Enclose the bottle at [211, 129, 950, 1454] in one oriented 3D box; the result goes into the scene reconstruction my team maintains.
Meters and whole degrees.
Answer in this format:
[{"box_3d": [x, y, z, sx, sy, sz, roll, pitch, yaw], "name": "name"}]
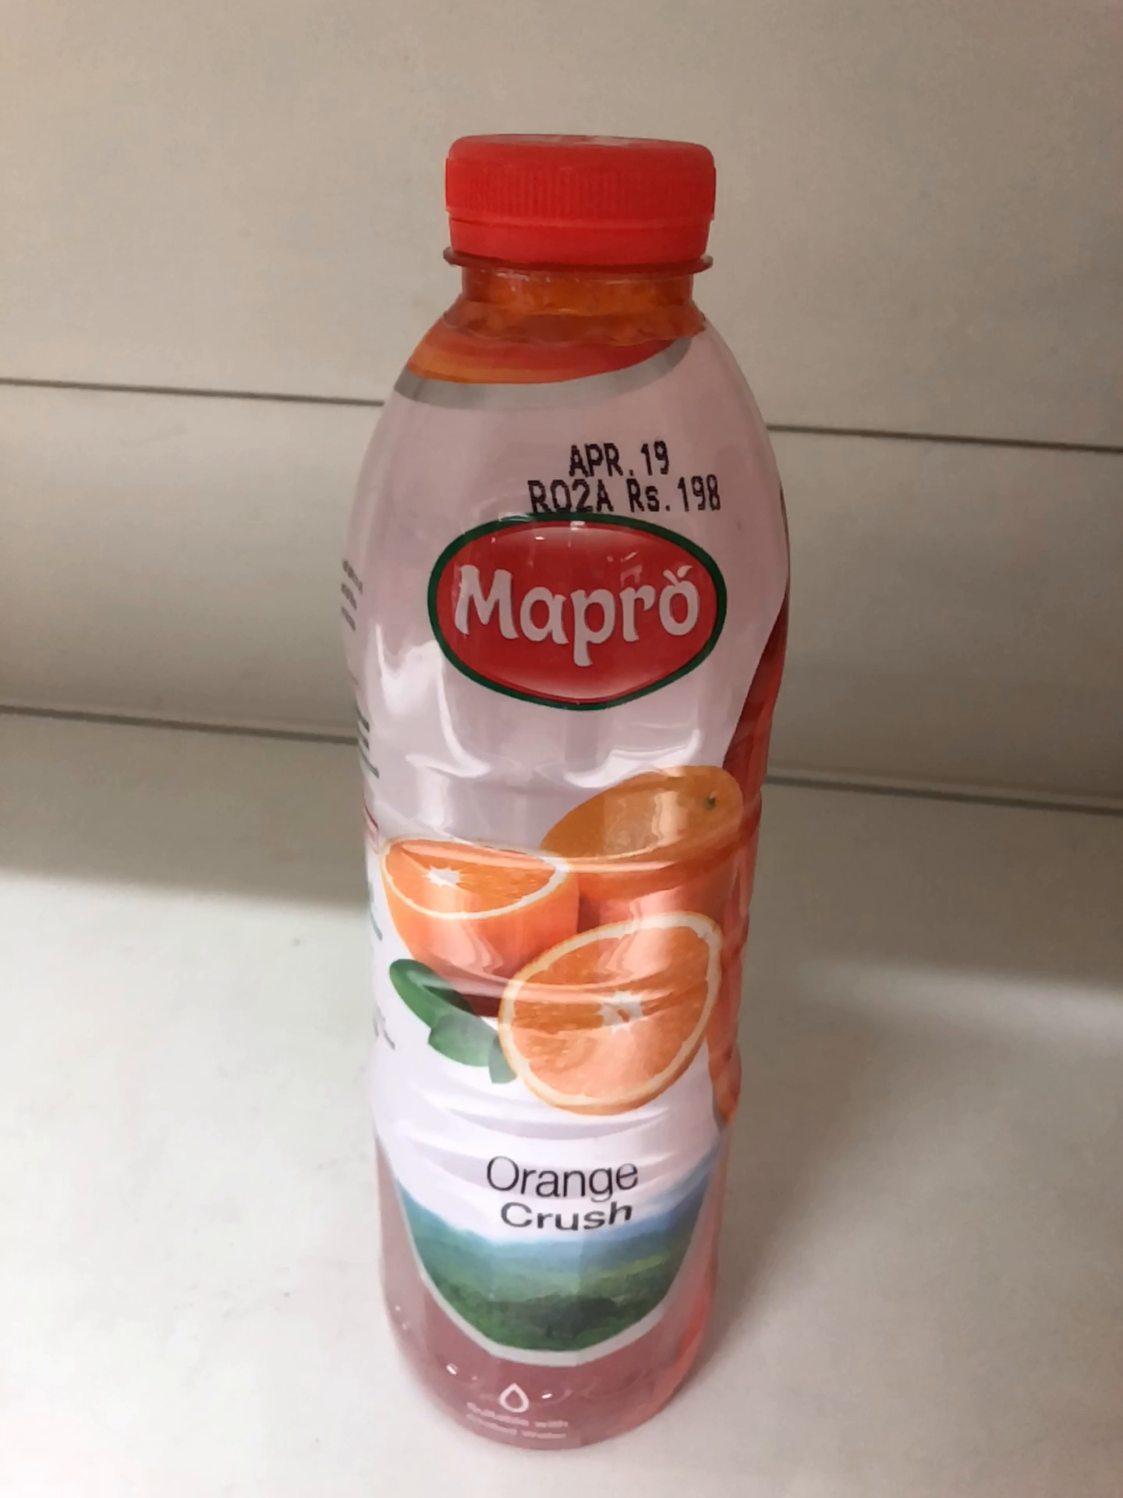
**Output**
[{"box_3d": [-0.001, 0.022, 0.241, 0.090, 0.248, 0.070, 1, 27, -1], "name": "bottle"}]
